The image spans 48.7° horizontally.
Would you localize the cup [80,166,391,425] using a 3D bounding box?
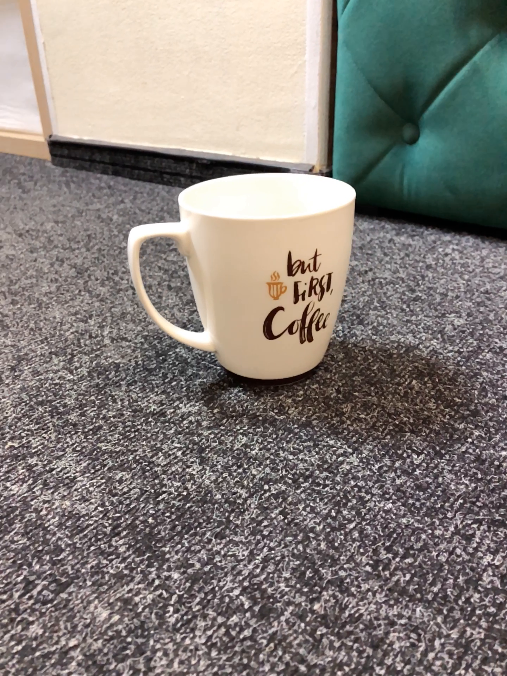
[{"bbox_3d":[-0.012,-0.038,0.346,0.146,0.100,0.110,-16,30,-26],"label":"cup"}]
